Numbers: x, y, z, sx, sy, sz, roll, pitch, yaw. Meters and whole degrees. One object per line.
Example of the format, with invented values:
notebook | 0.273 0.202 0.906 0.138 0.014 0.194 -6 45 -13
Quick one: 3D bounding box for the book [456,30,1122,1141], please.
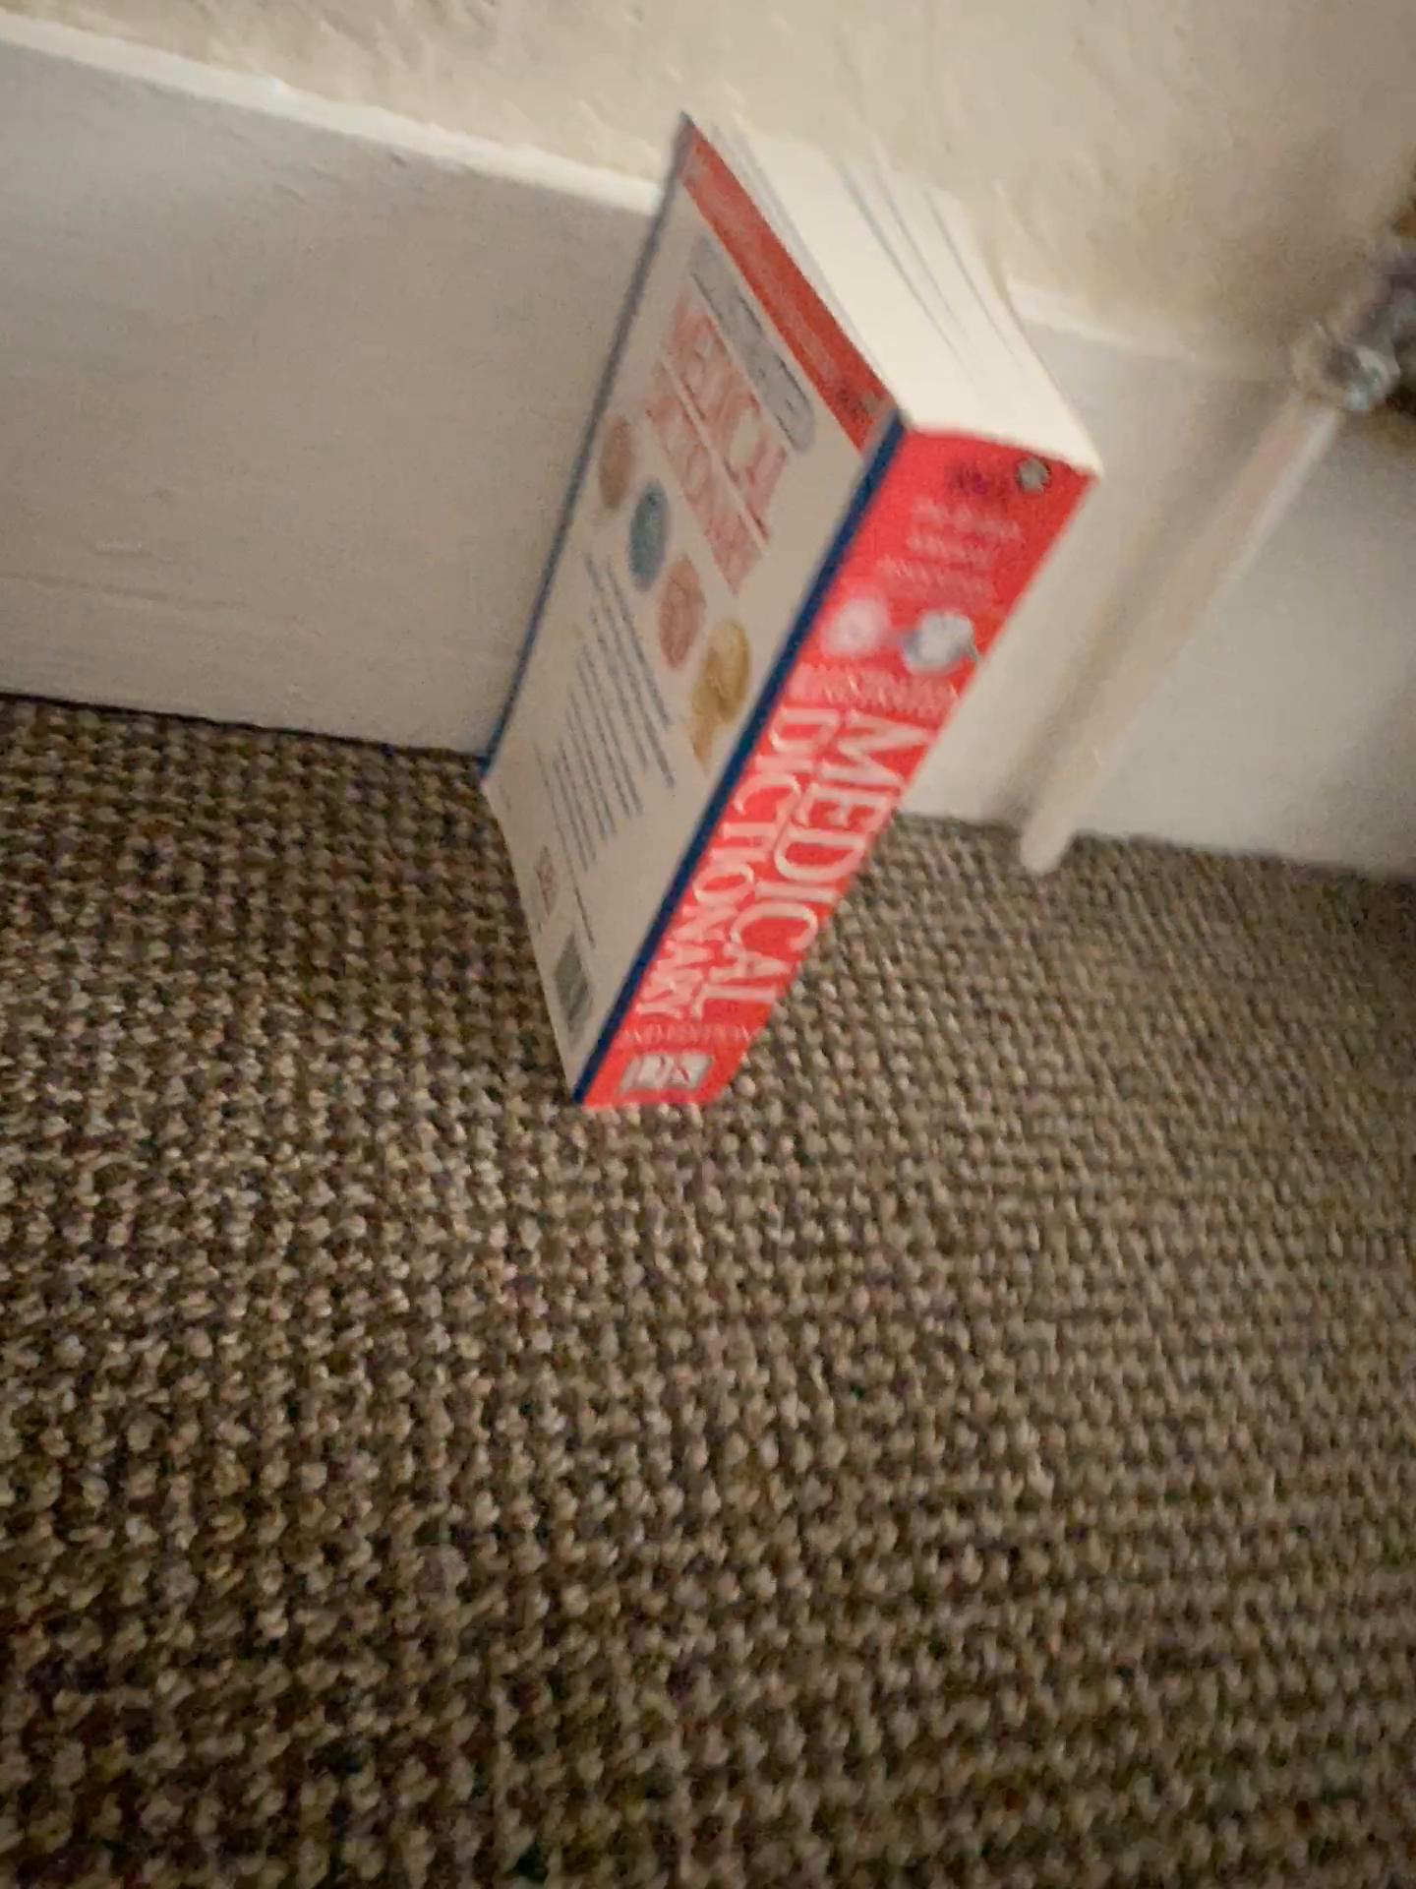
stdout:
book | -0.006 -0.088 0.374 0.060 0.198 0.191 5 44 -22
